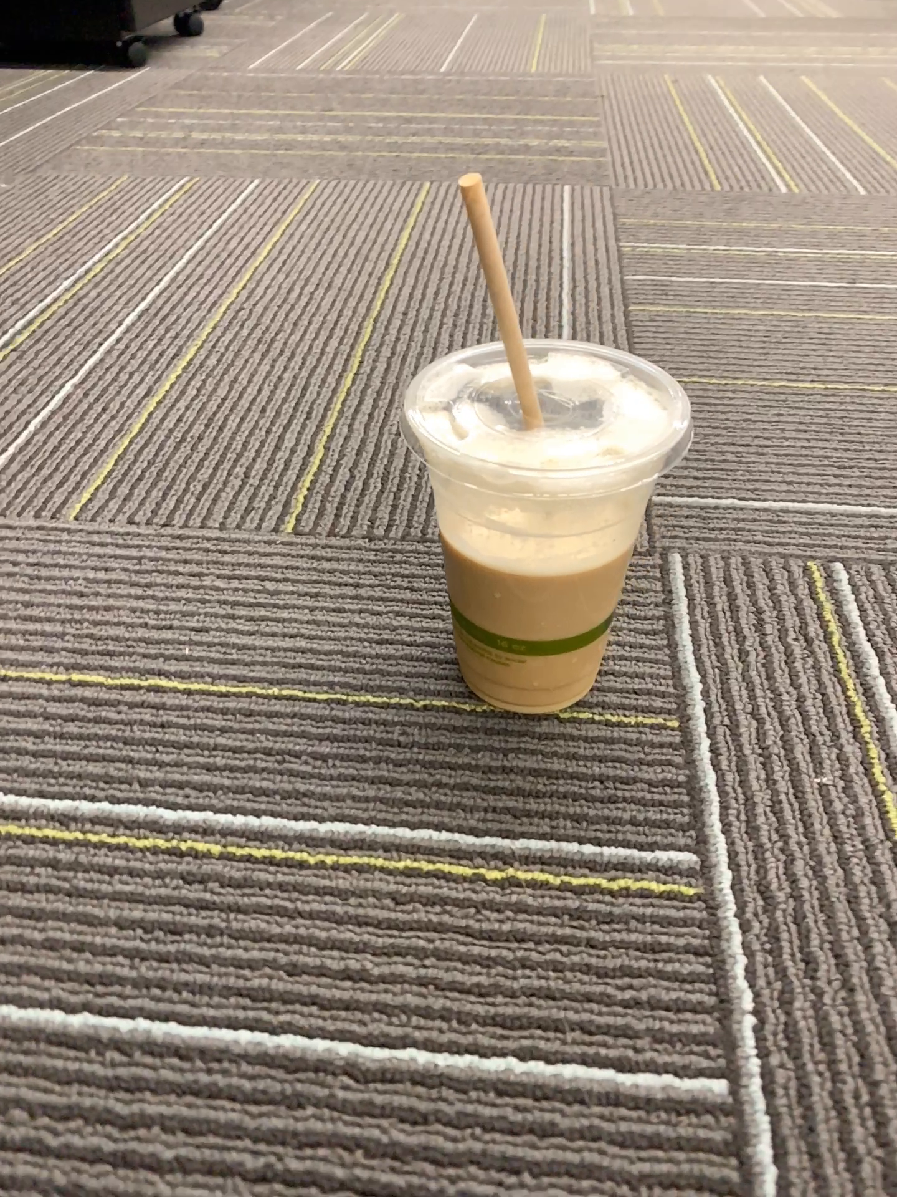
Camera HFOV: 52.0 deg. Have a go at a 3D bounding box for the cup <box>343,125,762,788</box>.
[{"bbox_3d":[0.034,-0.044,0.314,0.090,0.189,0.090,-1,39,0],"label":"cup"}]
